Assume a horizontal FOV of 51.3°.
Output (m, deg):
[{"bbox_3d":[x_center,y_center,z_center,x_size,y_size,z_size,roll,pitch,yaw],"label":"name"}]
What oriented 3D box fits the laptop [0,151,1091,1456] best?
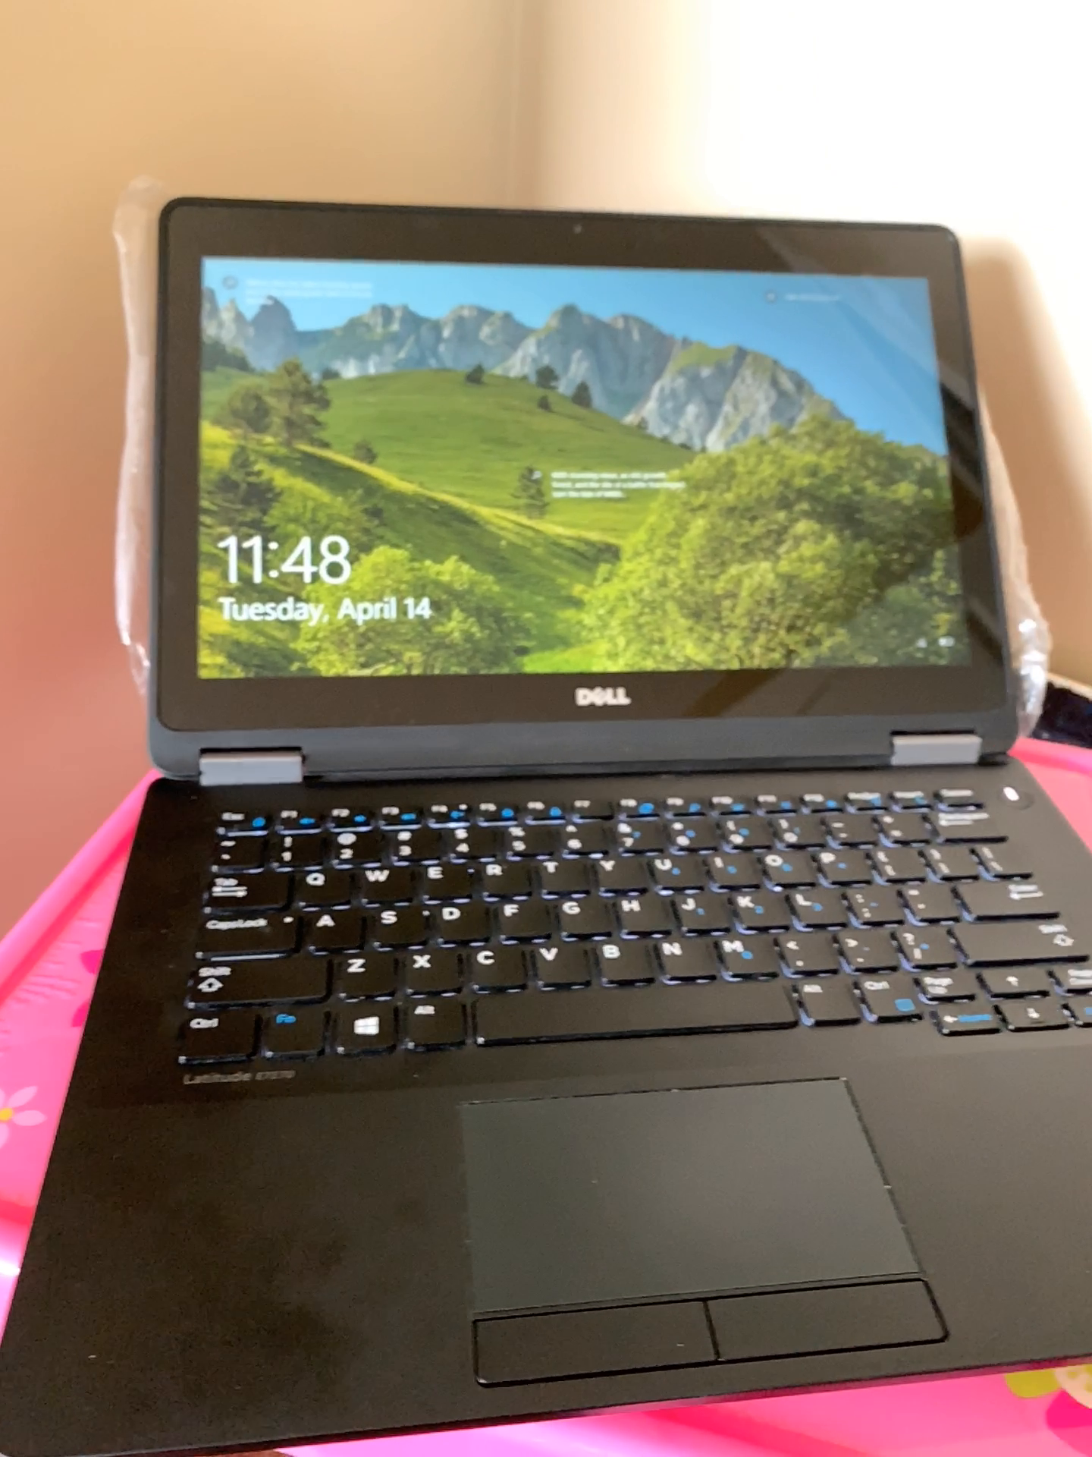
[{"bbox_3d":[0.025,-0.031,0.284,0.261,0.121,0.303,-1,39,-9],"label":"laptop"}]
